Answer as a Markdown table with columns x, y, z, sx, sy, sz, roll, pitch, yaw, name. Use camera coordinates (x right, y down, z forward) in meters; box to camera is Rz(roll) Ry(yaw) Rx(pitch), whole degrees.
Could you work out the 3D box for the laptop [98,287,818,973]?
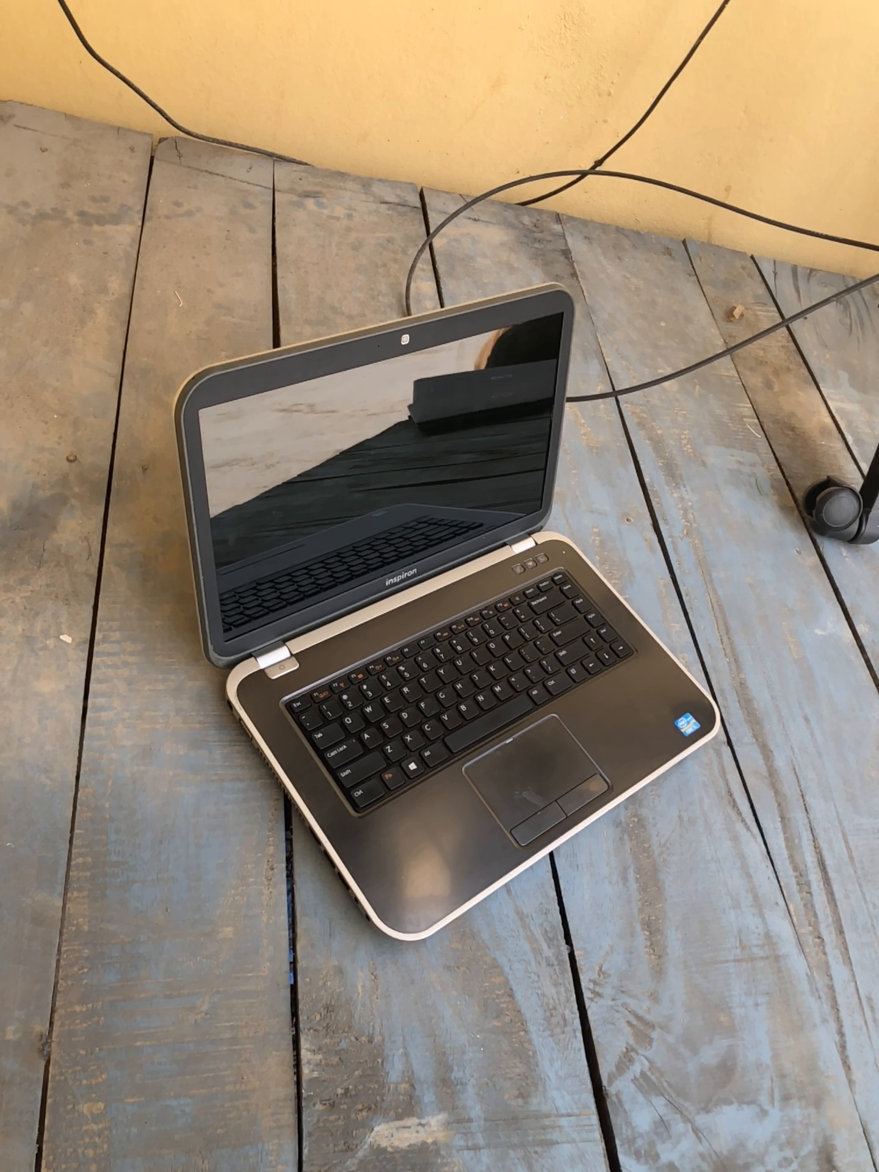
| x | y | z | sx | sy | sz | roll | pitch | yaw | name |
| --- | --- | --- | --- | --- | --- | --- | --- | --- | --- |
| -0.003 | 0.005 | 0.703 | 0.353 | 0.209 | 0.333 | -24 | 64 | -32 | laptop |
